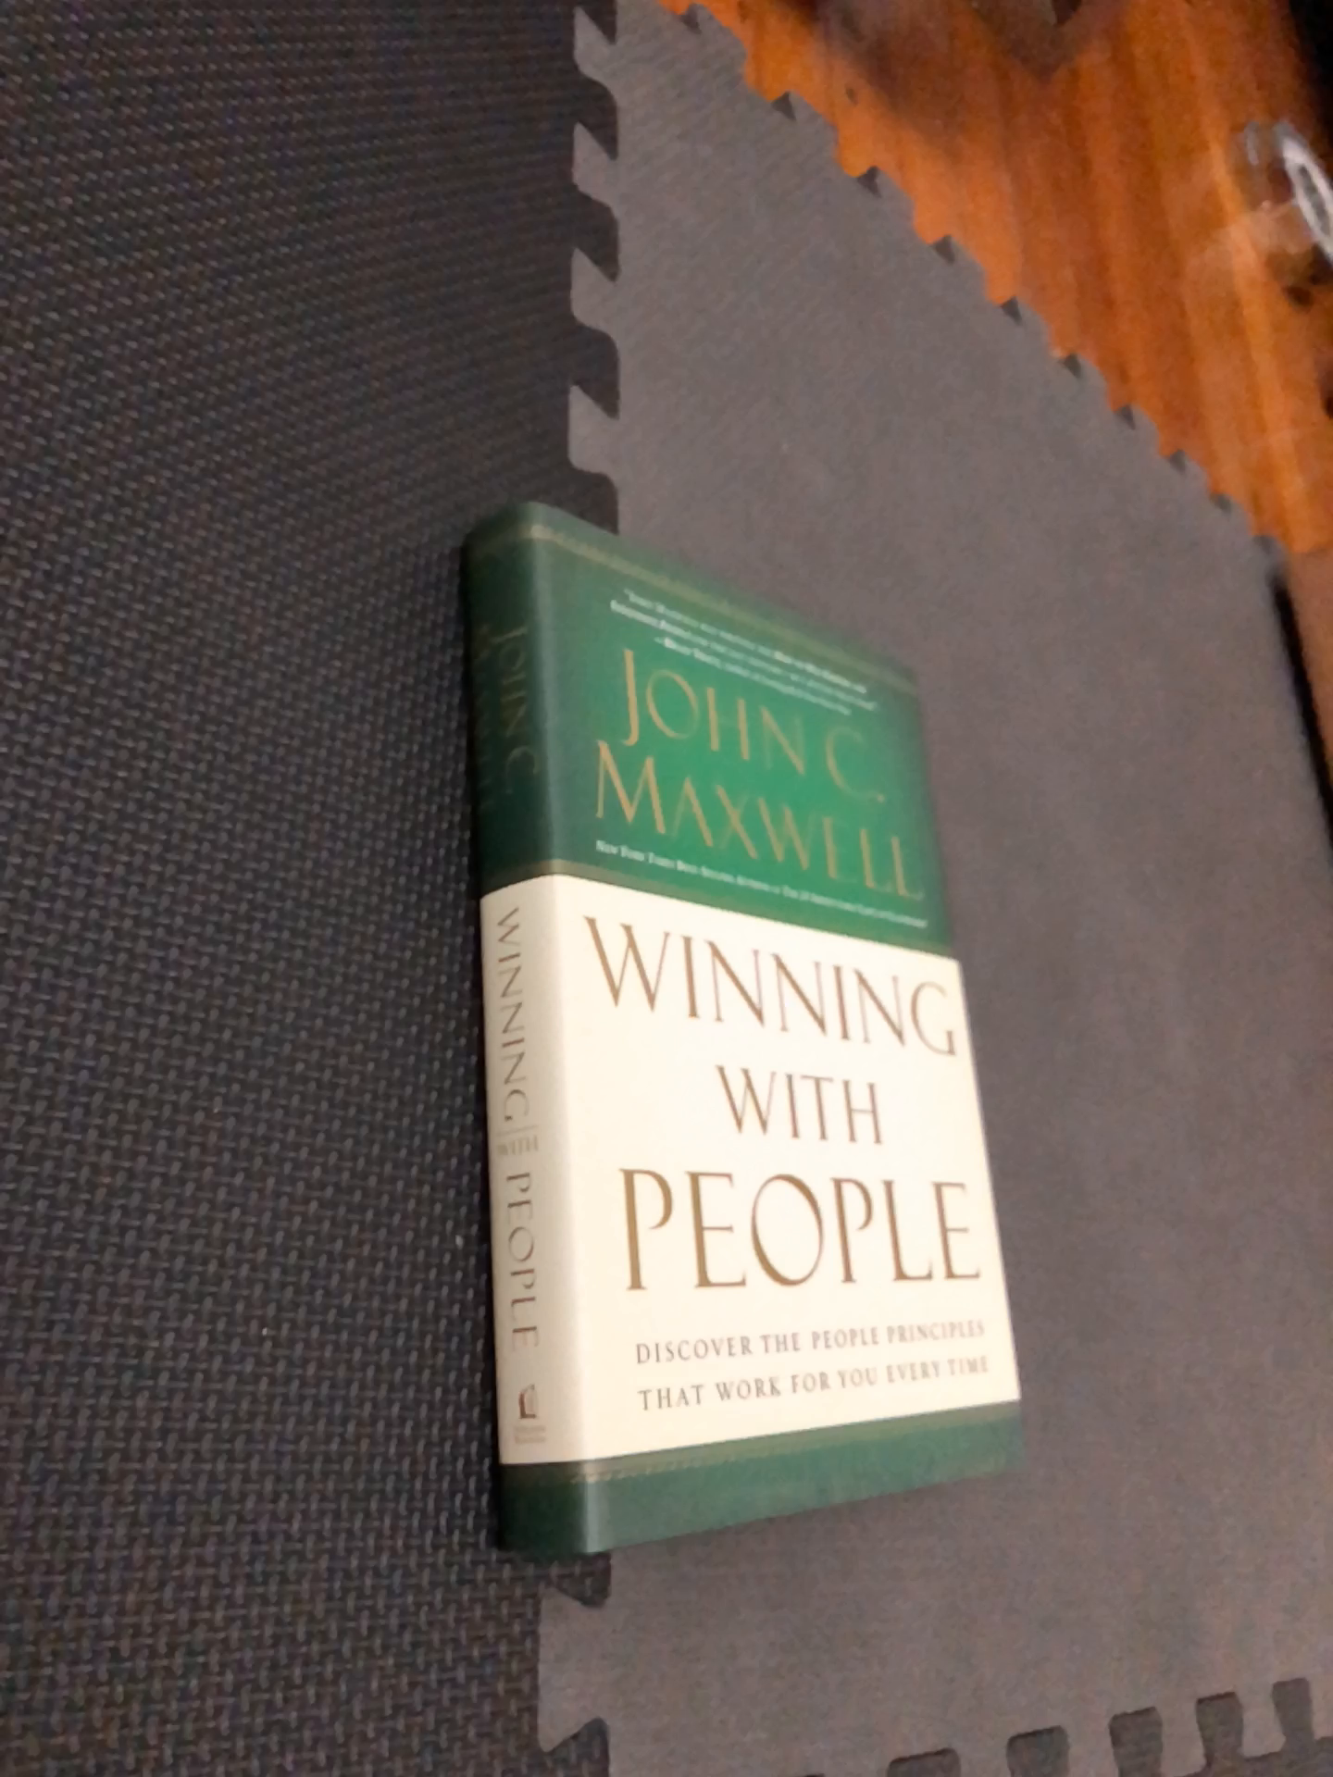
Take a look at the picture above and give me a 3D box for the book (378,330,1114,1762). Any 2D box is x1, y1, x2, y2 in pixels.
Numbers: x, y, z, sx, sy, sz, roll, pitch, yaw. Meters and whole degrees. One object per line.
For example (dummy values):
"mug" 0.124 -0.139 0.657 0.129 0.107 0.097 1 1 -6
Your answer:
"book" 0.022 0.030 0.372 0.201 0.030 0.290 15 63 -43
